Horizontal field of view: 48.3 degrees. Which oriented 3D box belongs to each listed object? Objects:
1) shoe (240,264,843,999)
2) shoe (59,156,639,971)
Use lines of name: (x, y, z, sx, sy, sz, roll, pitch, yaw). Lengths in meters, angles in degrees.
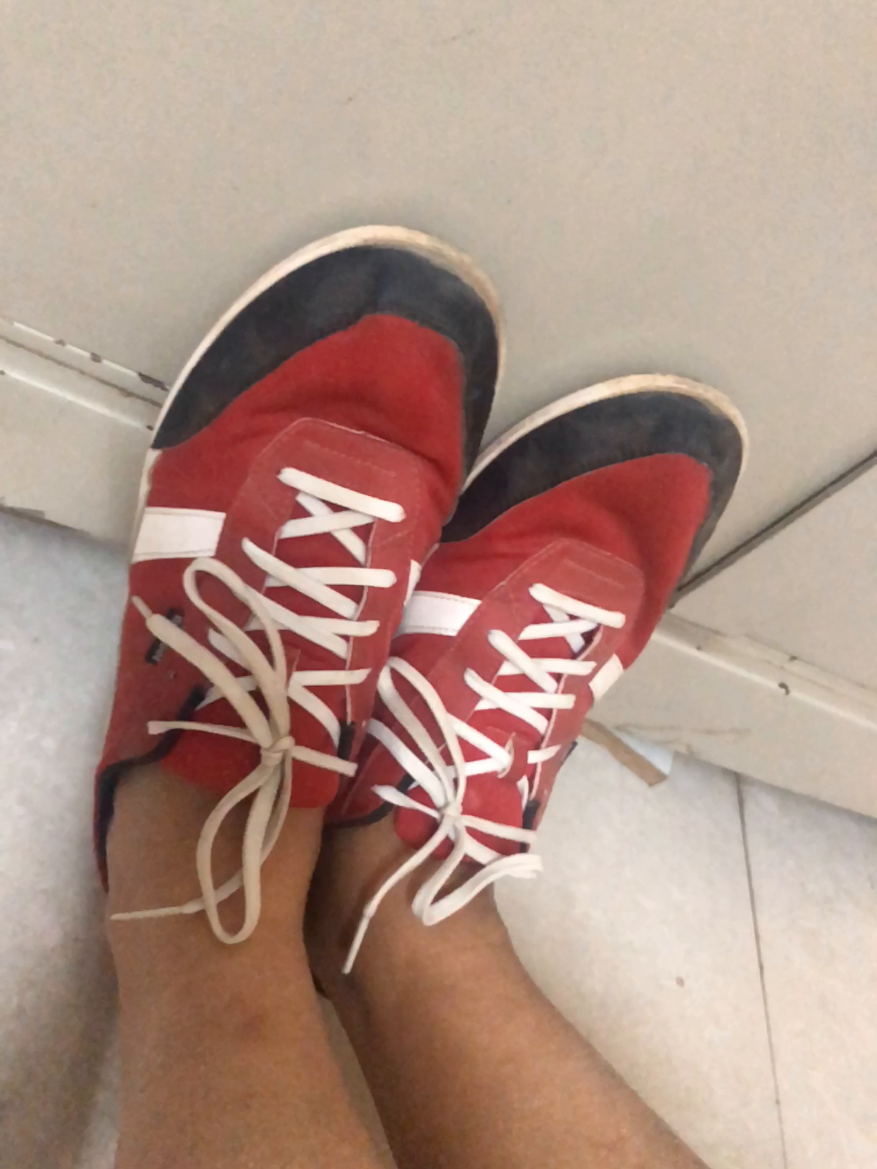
shoe: (0.023, 0.026, 0.366, 0.100, 0.249, 0.080, 20, 18, -24)
shoe: (-0.042, 0.002, 0.314, 0.100, 0.229, 0.080, 8, 24, -32)
